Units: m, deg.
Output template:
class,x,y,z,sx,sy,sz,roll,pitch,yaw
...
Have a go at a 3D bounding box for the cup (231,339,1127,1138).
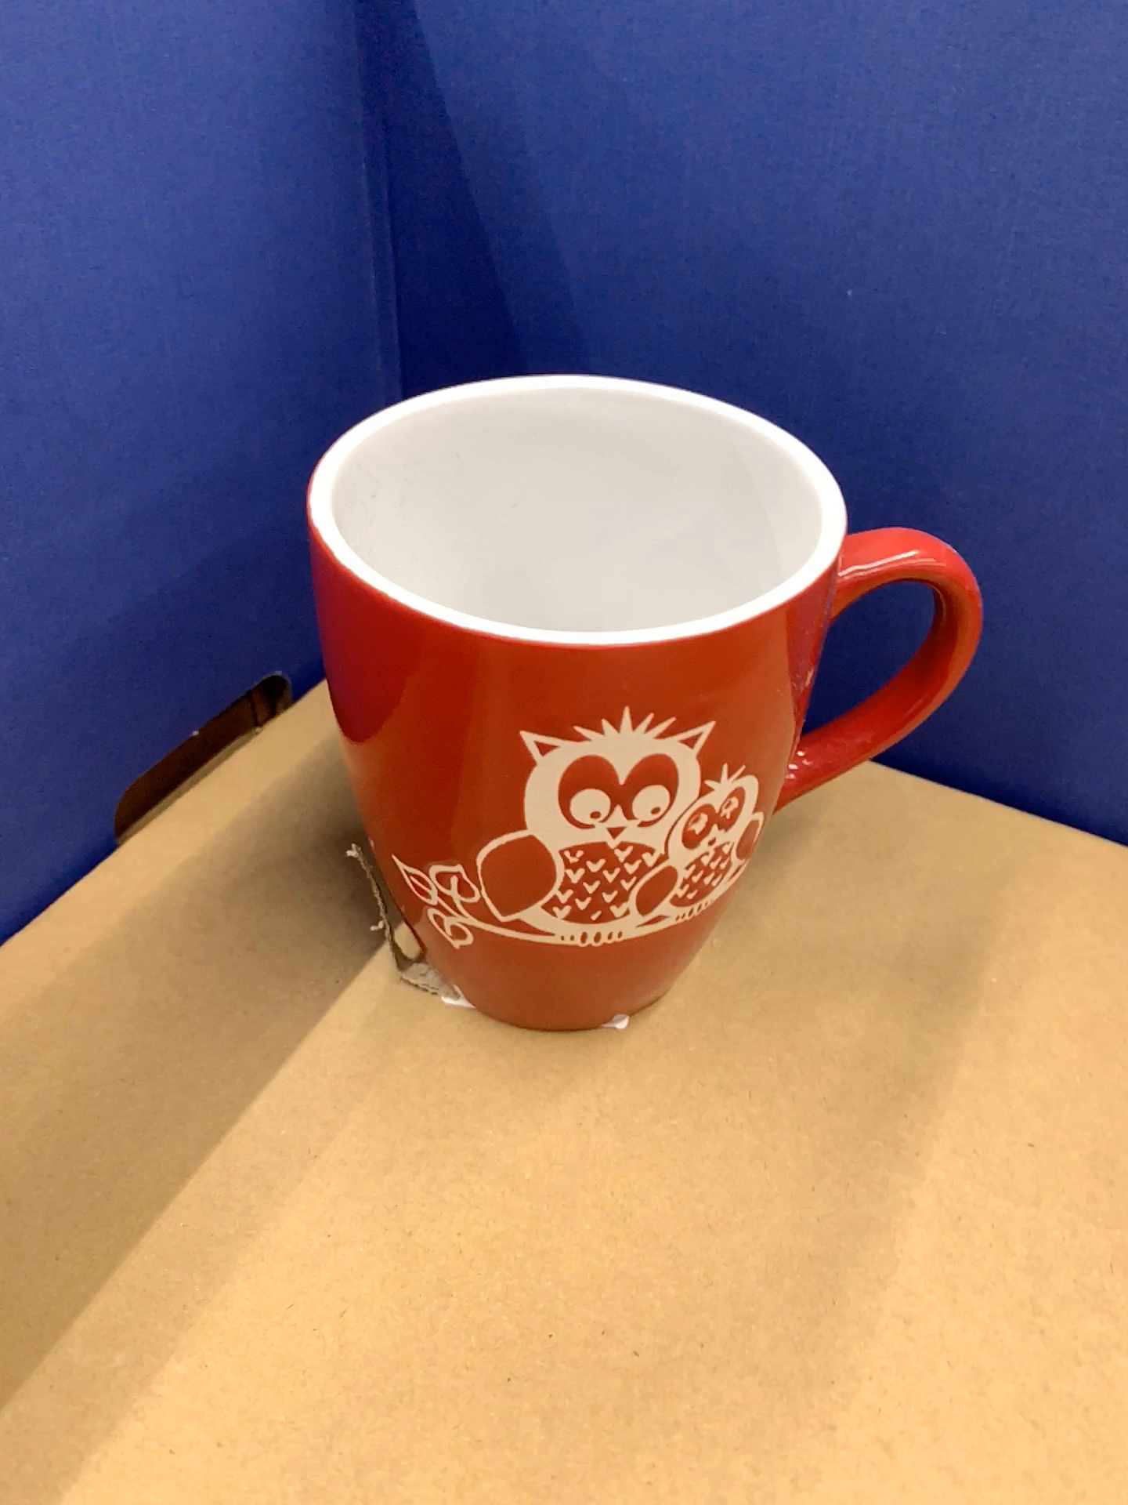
class,x,y,z,sx,sy,sz,roll,pitch,yaw
cup,0.011,-0.012,0.225,0.120,0.091,0.100,-12,39,-16
